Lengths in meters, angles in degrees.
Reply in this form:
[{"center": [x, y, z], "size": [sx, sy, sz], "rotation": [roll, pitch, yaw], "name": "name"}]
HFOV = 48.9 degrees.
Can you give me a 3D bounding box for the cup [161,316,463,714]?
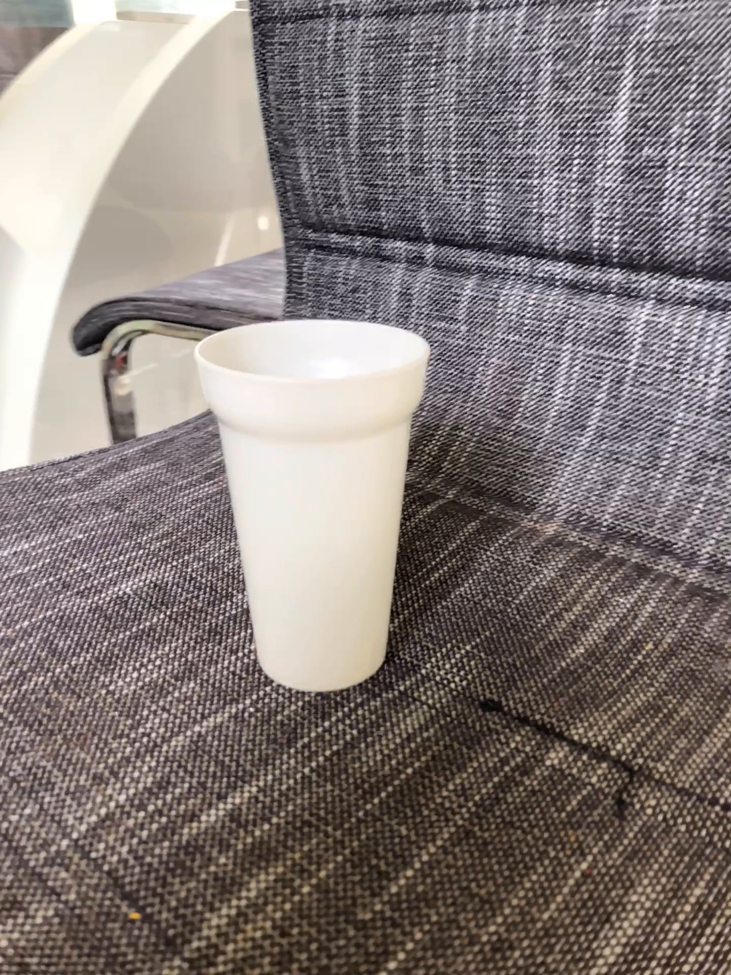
[{"center": [-0.011, 0.005, 0.284], "size": [0.080, 0.109, 0.080], "rotation": [-1, 27, 1], "name": "cup"}]
